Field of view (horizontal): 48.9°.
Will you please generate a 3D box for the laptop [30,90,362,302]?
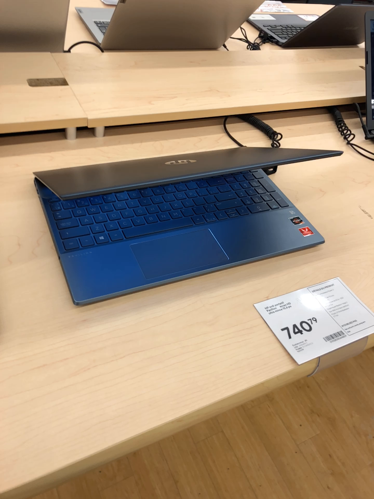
[{"bbox_3d":[0.005,-0.093,0.534,0.350,0.119,0.209,-13,51,-24],"label":"laptop"}]
